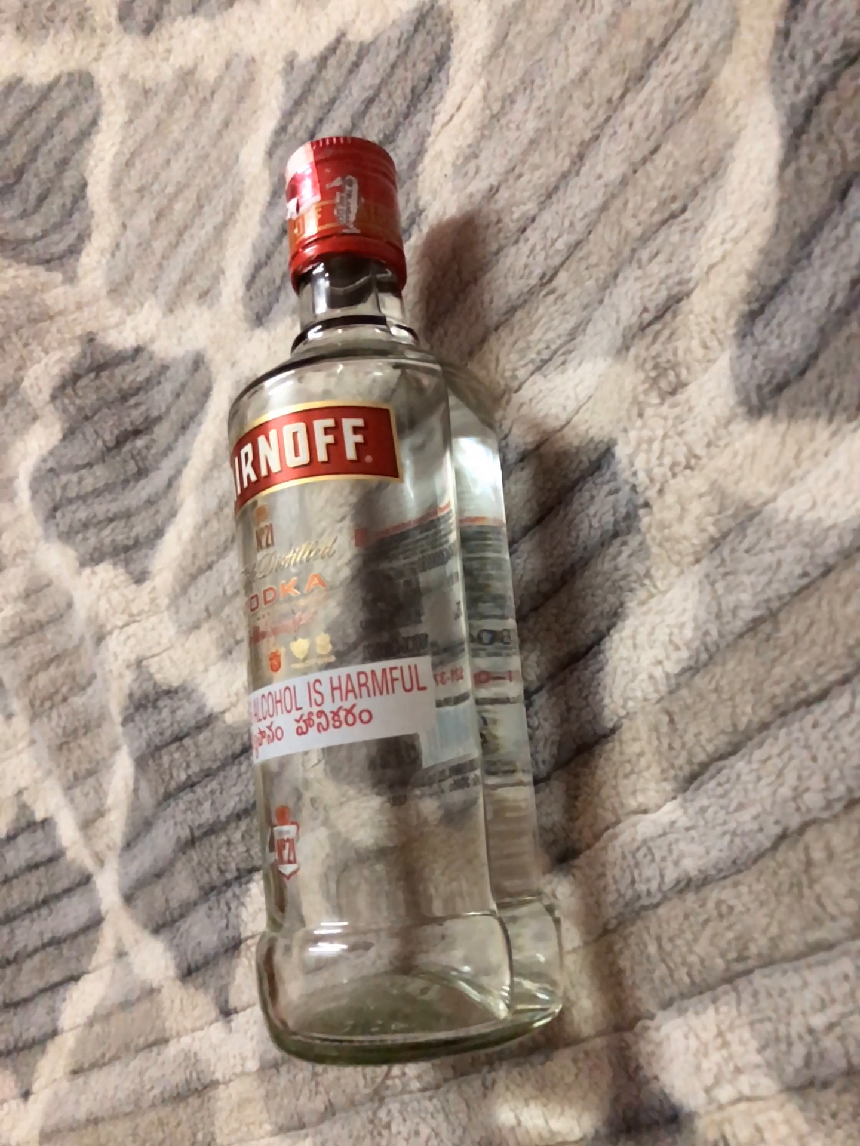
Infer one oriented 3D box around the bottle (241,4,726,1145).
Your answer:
[{"bbox_3d":[0.005,-0.005,0.229,0.070,0.060,0.230,-19,70,41],"label":"bottle"}]
